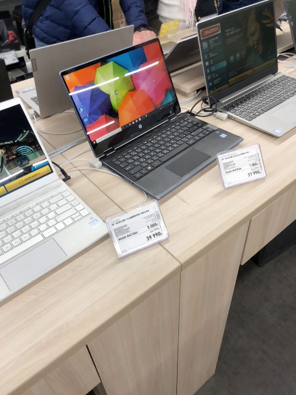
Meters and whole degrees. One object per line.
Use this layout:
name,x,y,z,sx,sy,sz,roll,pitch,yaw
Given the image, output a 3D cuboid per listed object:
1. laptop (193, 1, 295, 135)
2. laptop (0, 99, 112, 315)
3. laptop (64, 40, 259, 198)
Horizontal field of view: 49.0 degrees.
laptop,0.394,-0.417,0.997,0.352,0.218,0.330,-31,50,-27
laptop,-0.297,-0.015,0.635,0.293,0.171,0.324,-31,51,-31
laptop,0.031,-0.228,0.841,0.327,0.194,0.327,-34,52,-30
